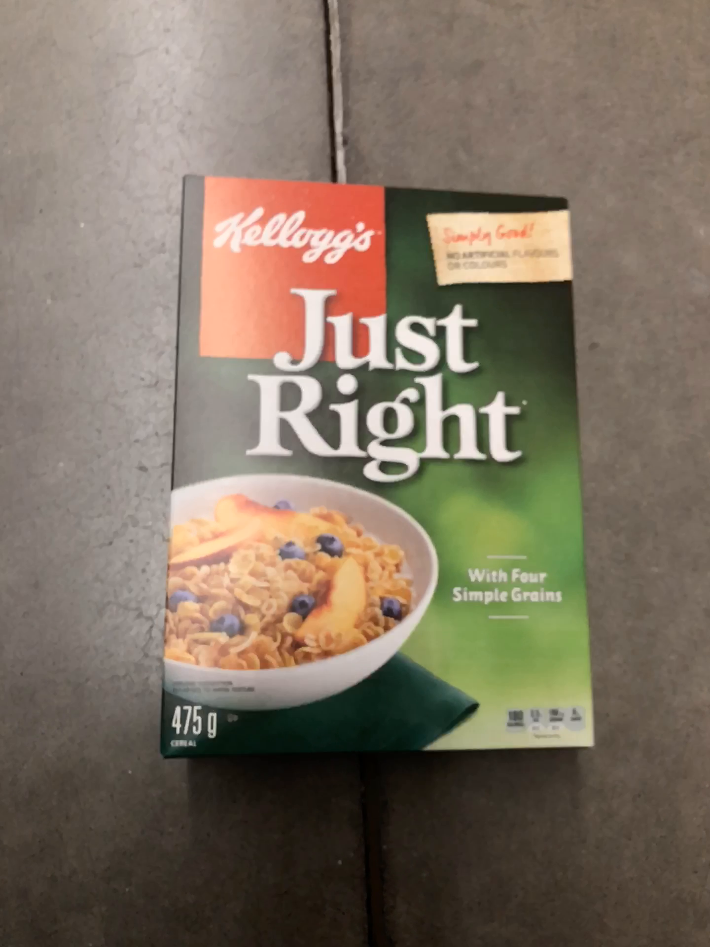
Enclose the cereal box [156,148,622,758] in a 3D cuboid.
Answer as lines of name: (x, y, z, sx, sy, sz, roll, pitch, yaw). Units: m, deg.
cereal box: (0.014, -0.013, 0.408, 0.210, 0.060, 0.290, 1, 80, -5)
